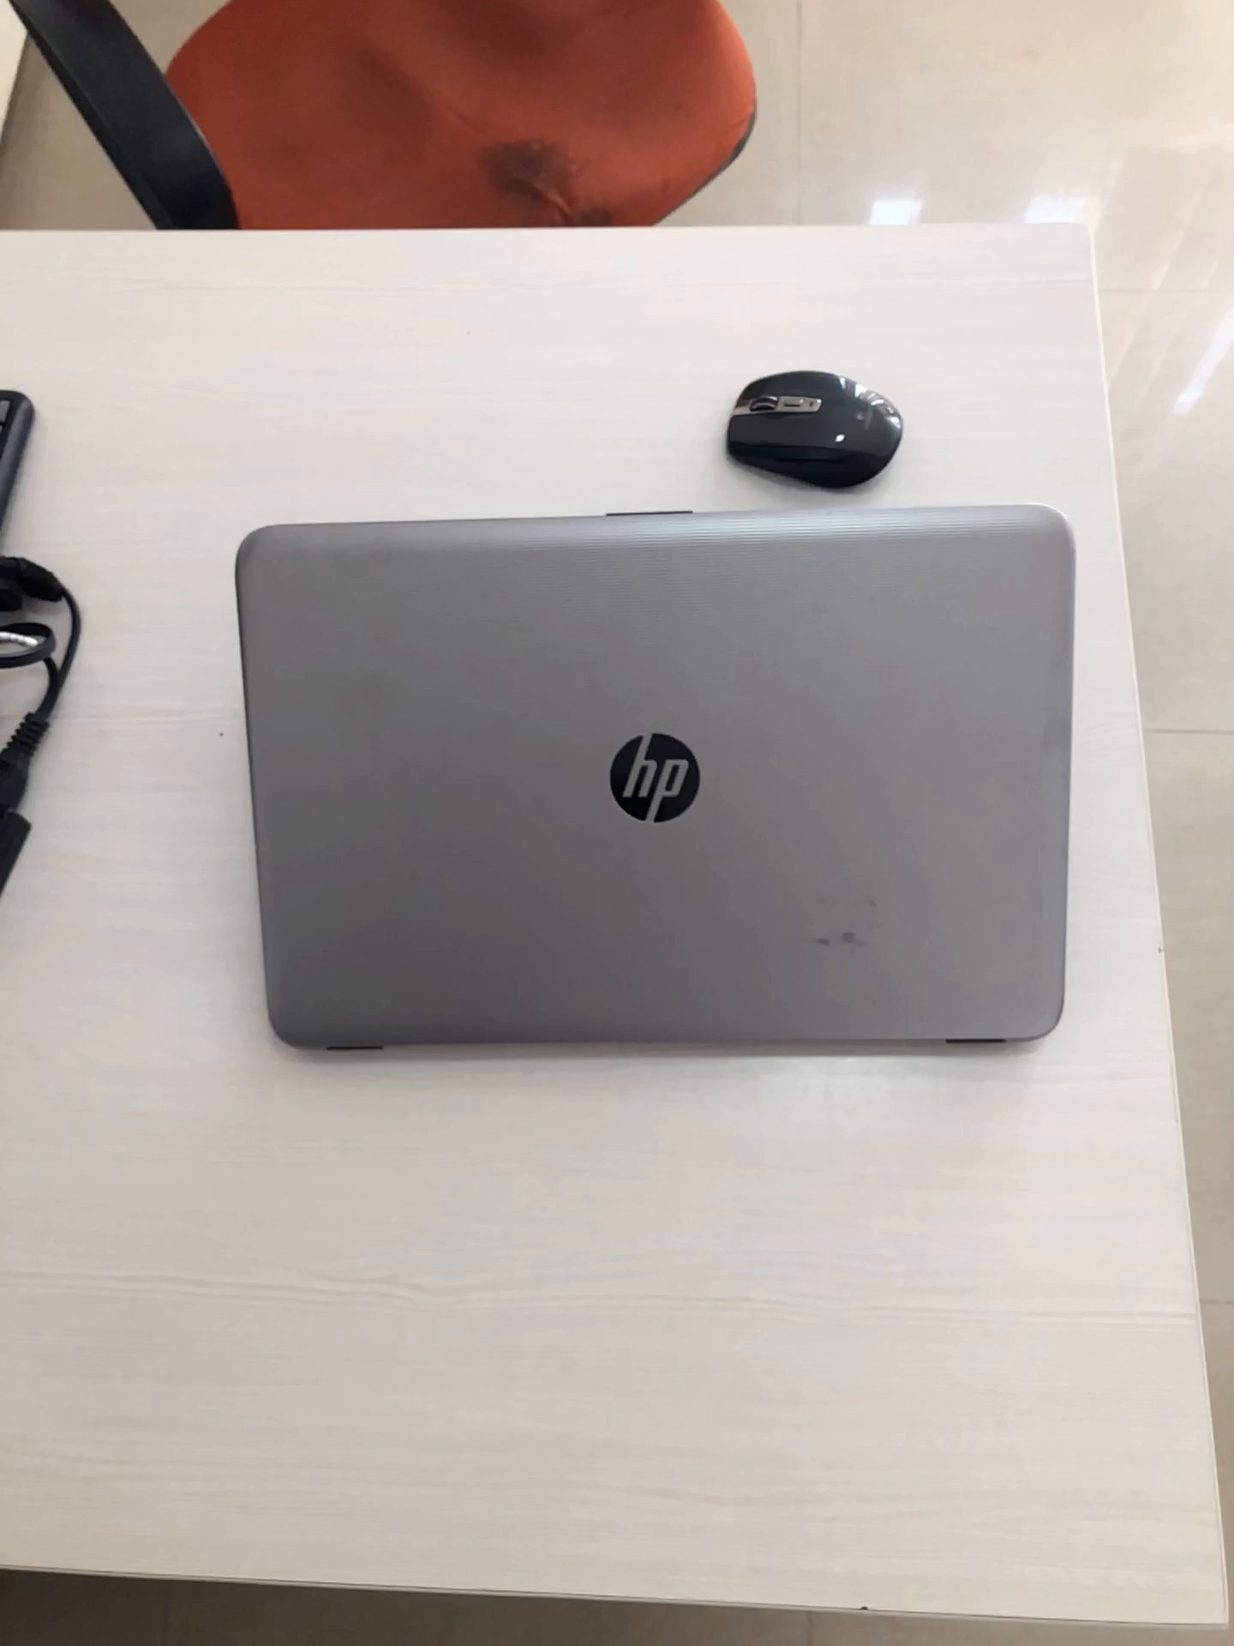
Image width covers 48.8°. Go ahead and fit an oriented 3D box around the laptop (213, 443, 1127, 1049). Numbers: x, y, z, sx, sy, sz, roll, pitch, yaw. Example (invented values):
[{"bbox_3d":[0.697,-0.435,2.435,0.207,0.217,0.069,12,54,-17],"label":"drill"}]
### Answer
[{"bbox_3d":[0.017,-0.030,0.646,0.369,0.121,0.252,-1,72,3],"label":"laptop"}]
